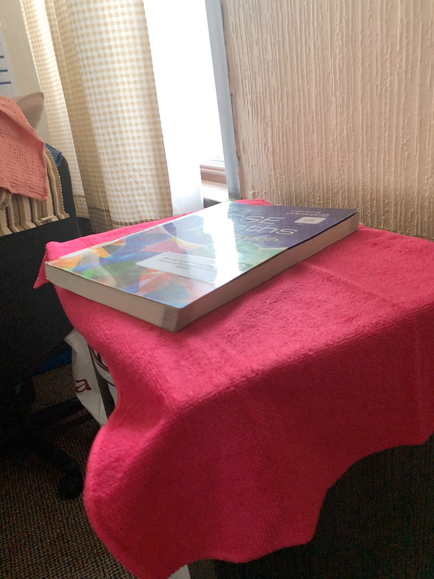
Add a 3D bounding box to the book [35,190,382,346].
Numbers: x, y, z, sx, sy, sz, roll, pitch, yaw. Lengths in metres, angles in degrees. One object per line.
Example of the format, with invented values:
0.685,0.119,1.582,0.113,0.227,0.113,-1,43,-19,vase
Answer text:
0.000,-0.049,0.446,0.211,0.030,0.281,16,32,42,book
